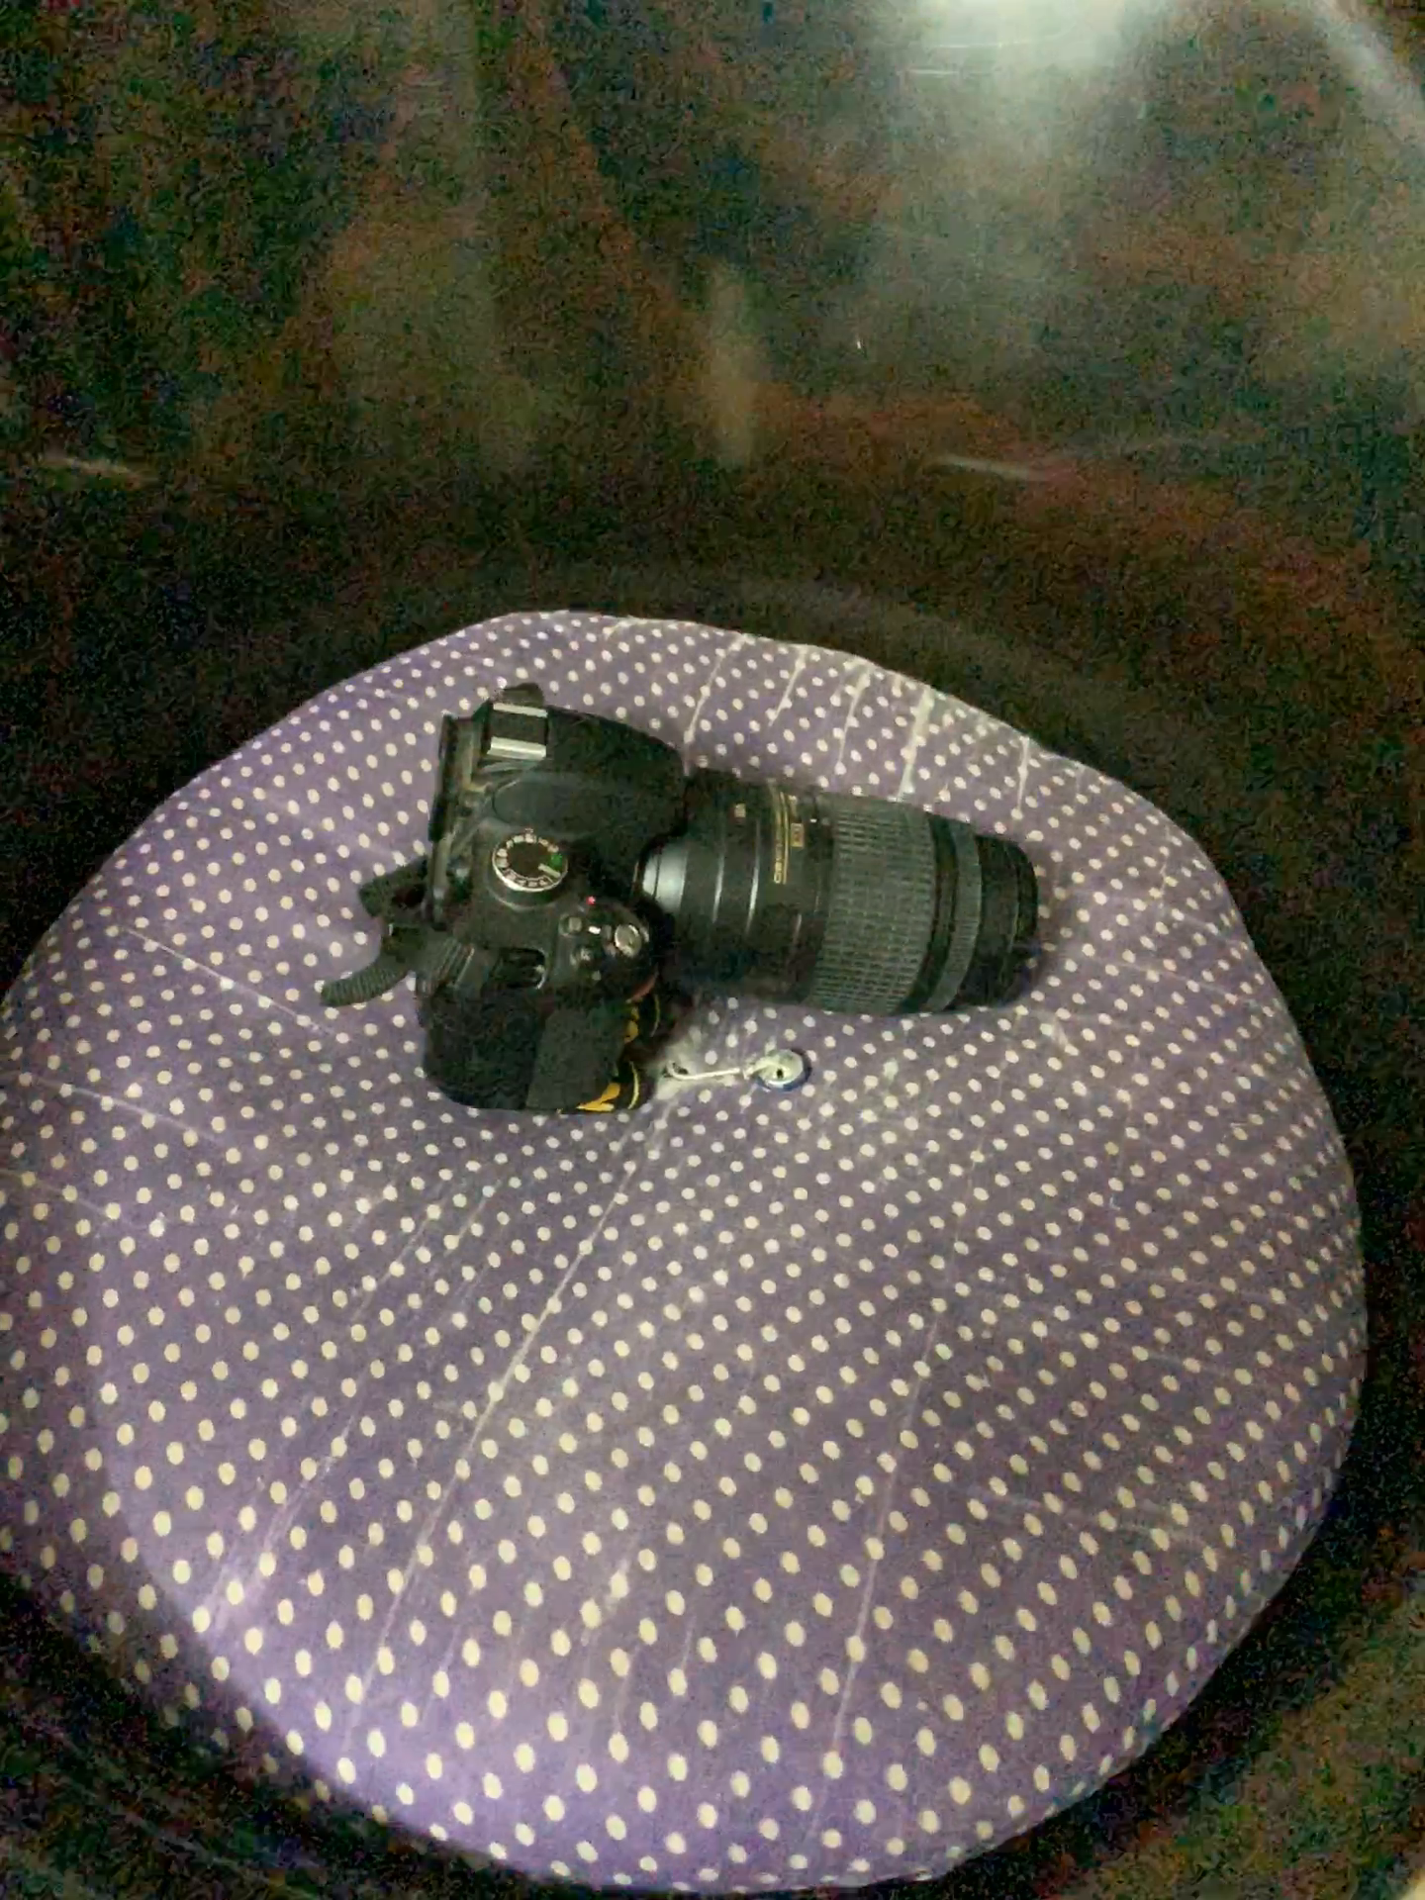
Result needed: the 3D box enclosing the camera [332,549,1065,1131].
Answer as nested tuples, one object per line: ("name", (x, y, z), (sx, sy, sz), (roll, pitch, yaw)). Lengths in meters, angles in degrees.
("camera", (-0.013, -0.034, 0.478), (0.200, 0.100, 0.140), (5, 48, -13))
